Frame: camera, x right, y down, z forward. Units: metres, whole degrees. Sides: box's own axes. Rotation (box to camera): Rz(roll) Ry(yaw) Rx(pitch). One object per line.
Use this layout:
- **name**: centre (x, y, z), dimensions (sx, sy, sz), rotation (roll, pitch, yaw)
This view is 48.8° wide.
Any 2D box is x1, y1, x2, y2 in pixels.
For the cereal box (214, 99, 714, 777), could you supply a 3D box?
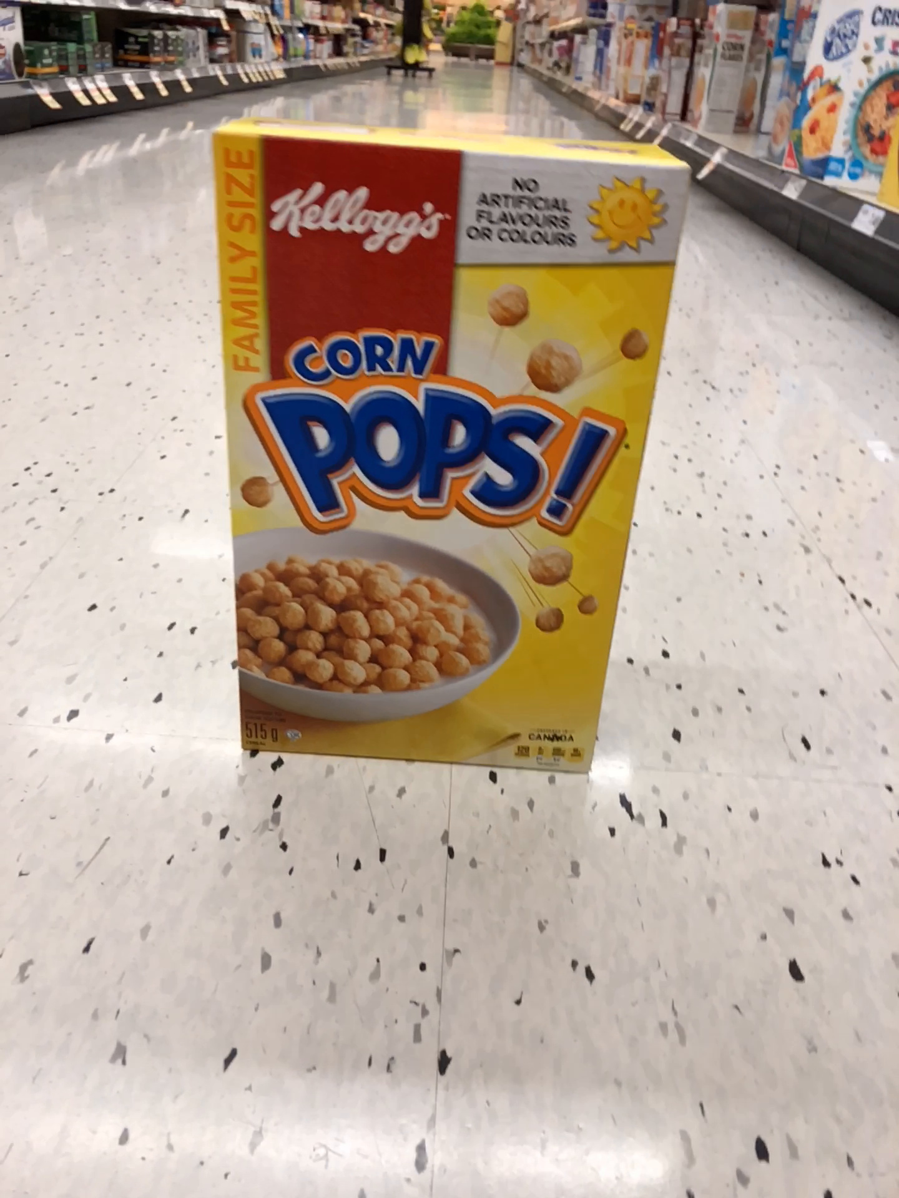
- **cereal box**: centre (-0.004, -0.072, 0.515), dimensions (0.200, 0.318, 0.101), rotation (4, 29, -1)
